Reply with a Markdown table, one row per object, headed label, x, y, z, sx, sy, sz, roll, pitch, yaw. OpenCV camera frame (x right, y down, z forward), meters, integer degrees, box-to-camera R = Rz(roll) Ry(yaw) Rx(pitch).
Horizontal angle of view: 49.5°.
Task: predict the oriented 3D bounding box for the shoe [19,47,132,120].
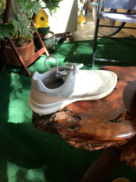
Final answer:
| label | x | y | z | sx | sy | sz | roll | pitch | yaw |
| --- | --- | --- | --- | --- | --- | --- | --- | --- | --- |
| shoe | 0.018 | -0.030 | 0.400 | 0.264 | 0.091 | 0.103 | -16 | 43 | -14 |
